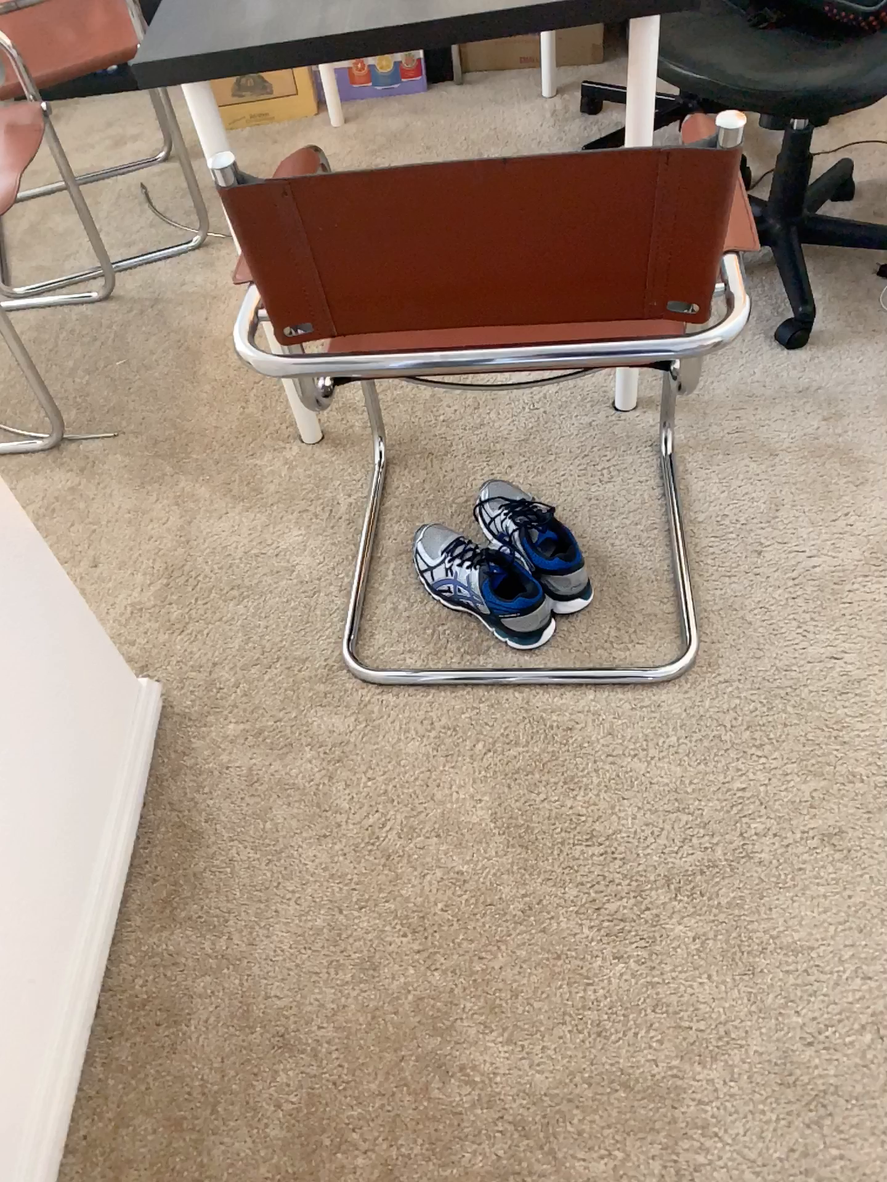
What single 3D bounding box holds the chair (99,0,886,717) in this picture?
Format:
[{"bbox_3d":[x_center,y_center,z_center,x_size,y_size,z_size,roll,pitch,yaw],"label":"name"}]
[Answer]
[{"bbox_3d":[0.089,-0.313,1.215,0.620,0.806,0.623,-1,51,8],"label":"chair"}]
